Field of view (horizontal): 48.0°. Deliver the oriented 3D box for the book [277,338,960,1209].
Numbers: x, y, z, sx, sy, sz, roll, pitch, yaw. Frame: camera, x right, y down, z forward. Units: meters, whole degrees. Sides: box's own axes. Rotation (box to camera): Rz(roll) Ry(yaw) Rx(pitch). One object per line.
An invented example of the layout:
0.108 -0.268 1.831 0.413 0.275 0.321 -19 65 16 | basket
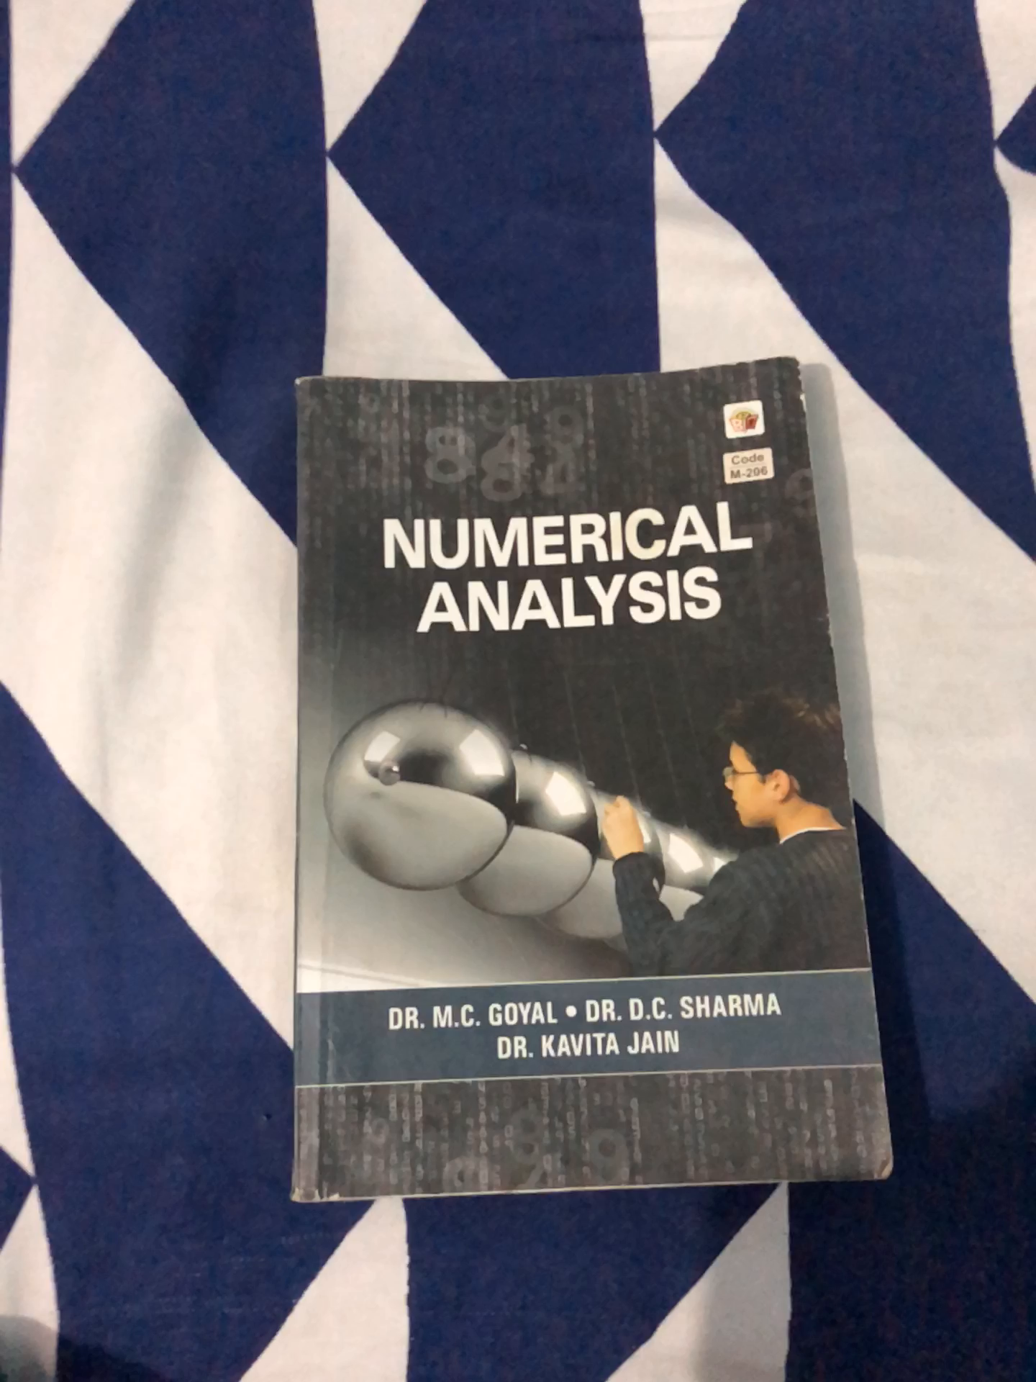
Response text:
0.017 0.014 0.274 0.140 0.030 0.190 -3 77 1 | book
